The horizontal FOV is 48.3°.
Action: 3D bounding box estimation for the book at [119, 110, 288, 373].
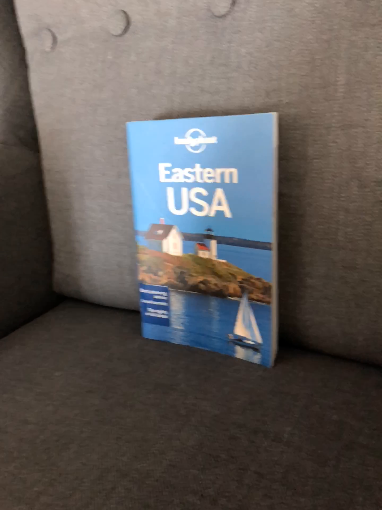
[{"bbox_3d":[0.010,-0.014,0.366,0.135,0.200,0.039,7,18,32],"label":"book"}]
